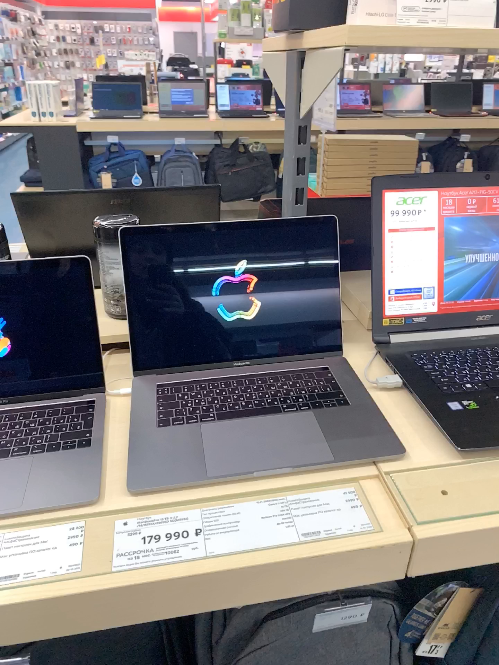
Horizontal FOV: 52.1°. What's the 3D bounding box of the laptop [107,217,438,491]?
[{"bbox_3d":[0.001,-0.002,0.709,0.345,0.210,0.326,-5,29,-9],"label":"laptop"}]
